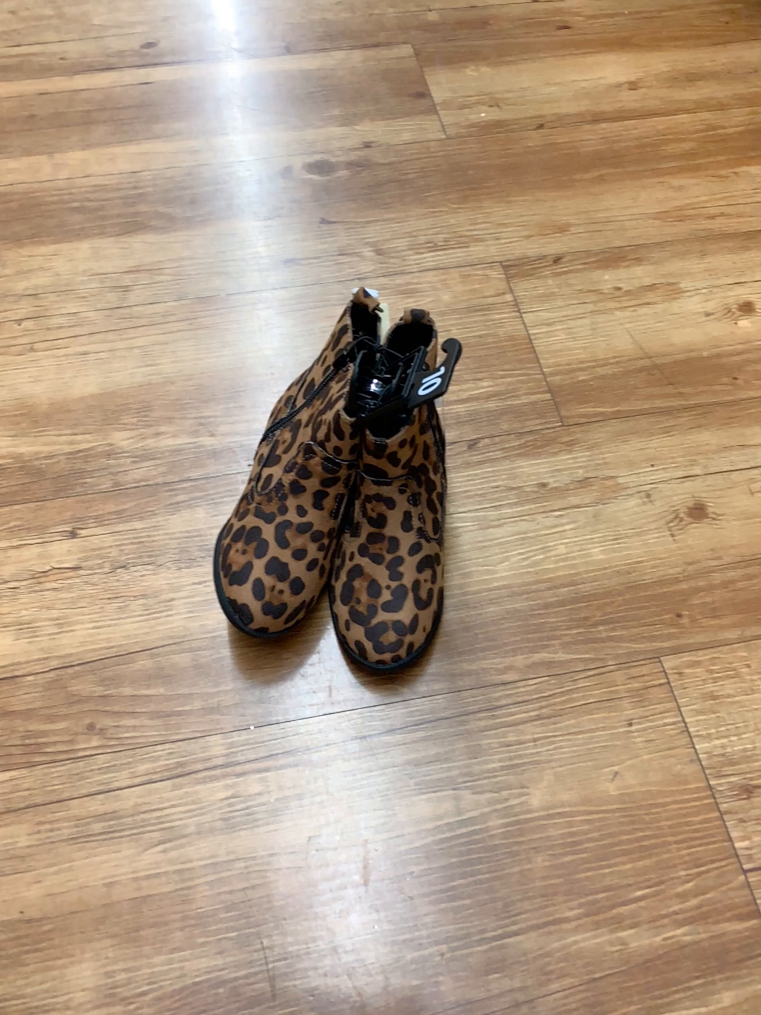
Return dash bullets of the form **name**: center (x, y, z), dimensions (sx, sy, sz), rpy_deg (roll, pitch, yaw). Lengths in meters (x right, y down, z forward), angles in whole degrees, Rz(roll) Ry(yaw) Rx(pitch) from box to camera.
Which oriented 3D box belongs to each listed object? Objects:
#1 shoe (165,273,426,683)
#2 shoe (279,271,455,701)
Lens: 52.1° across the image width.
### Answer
- **shoe**: center (-0.045, -0.014, 0.430), dimensions (0.070, 0.120, 0.181), rpy_deg (22, 55, -21)
- **shoe**: center (-0.001, -0.012, 0.411), dimensions (0.070, 0.120, 0.191), rpy_deg (2, 57, 1)
